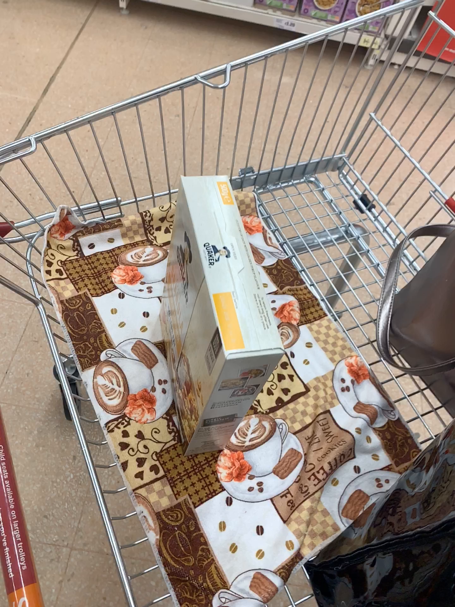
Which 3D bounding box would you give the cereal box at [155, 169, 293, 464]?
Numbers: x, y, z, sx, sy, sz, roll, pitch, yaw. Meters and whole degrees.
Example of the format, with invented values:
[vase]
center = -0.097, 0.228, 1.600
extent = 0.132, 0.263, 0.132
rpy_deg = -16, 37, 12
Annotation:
[cereal box]
center = -0.026, 0.029, 0.489
extent = 0.050, 0.258, 0.201
rpy_deg = -6, 58, -17
